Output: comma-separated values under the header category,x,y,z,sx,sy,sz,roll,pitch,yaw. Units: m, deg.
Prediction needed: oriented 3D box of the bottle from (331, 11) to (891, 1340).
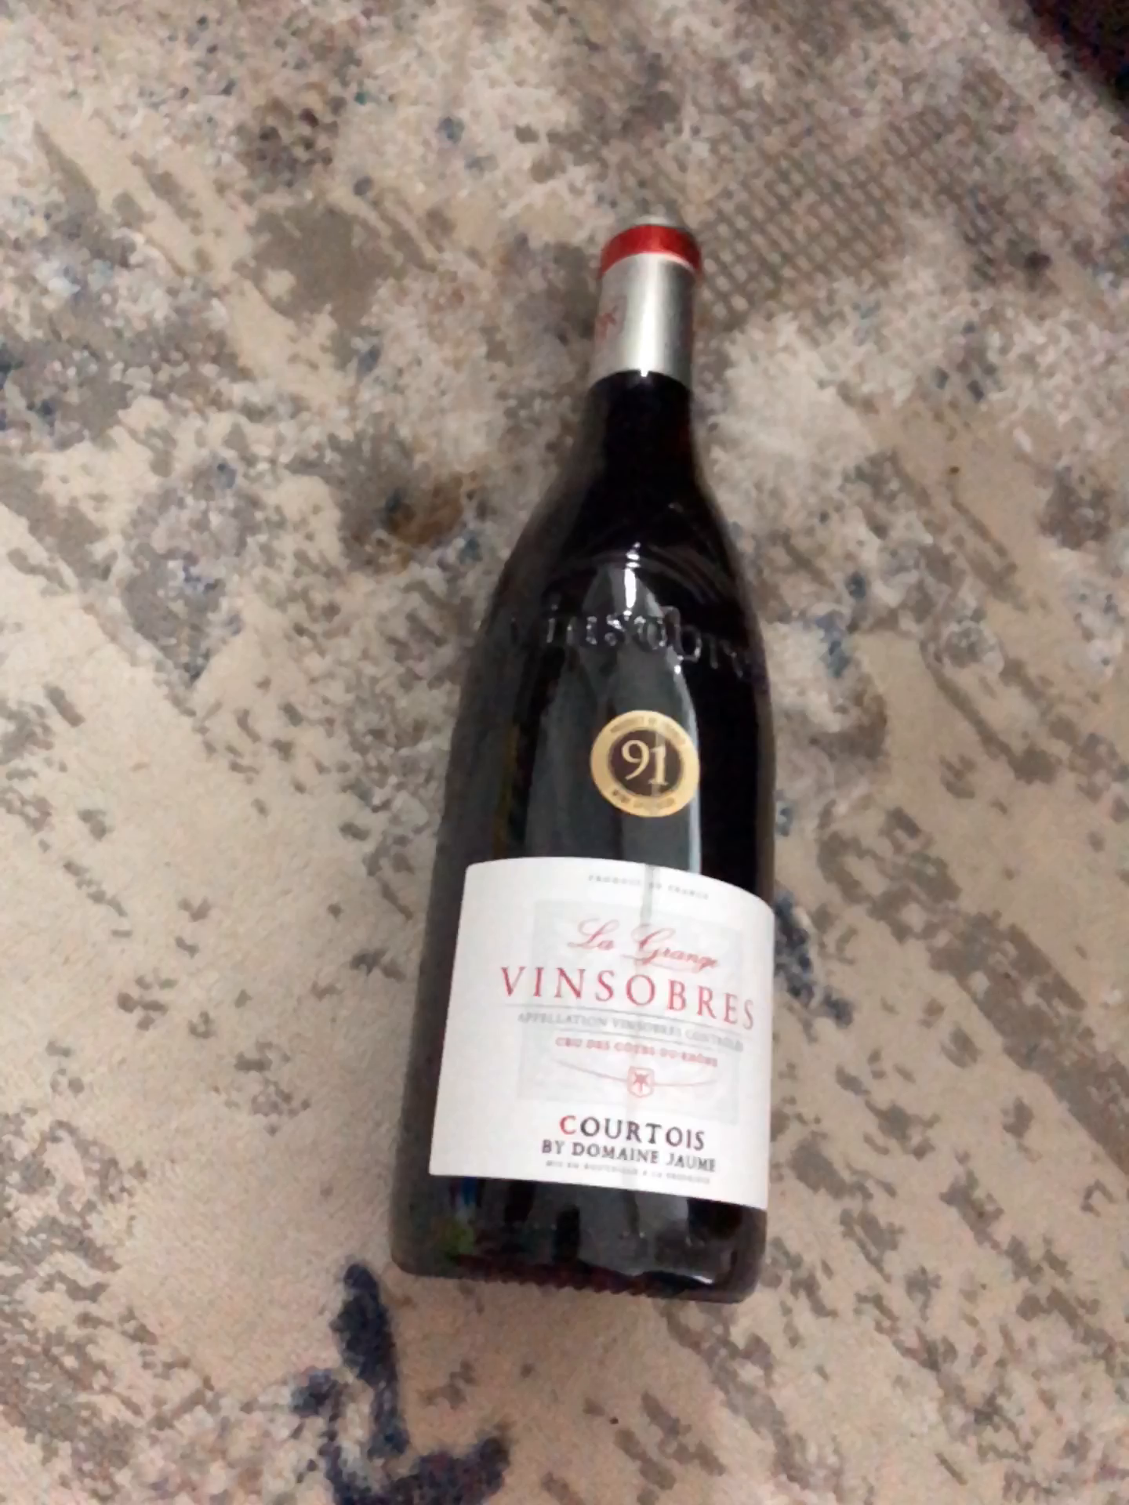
category,x,y,z,sx,sy,sz,roll,pitch,yaw
bottle,0.016,-0.024,0.320,0.090,0.100,0.300,11,67,-13
